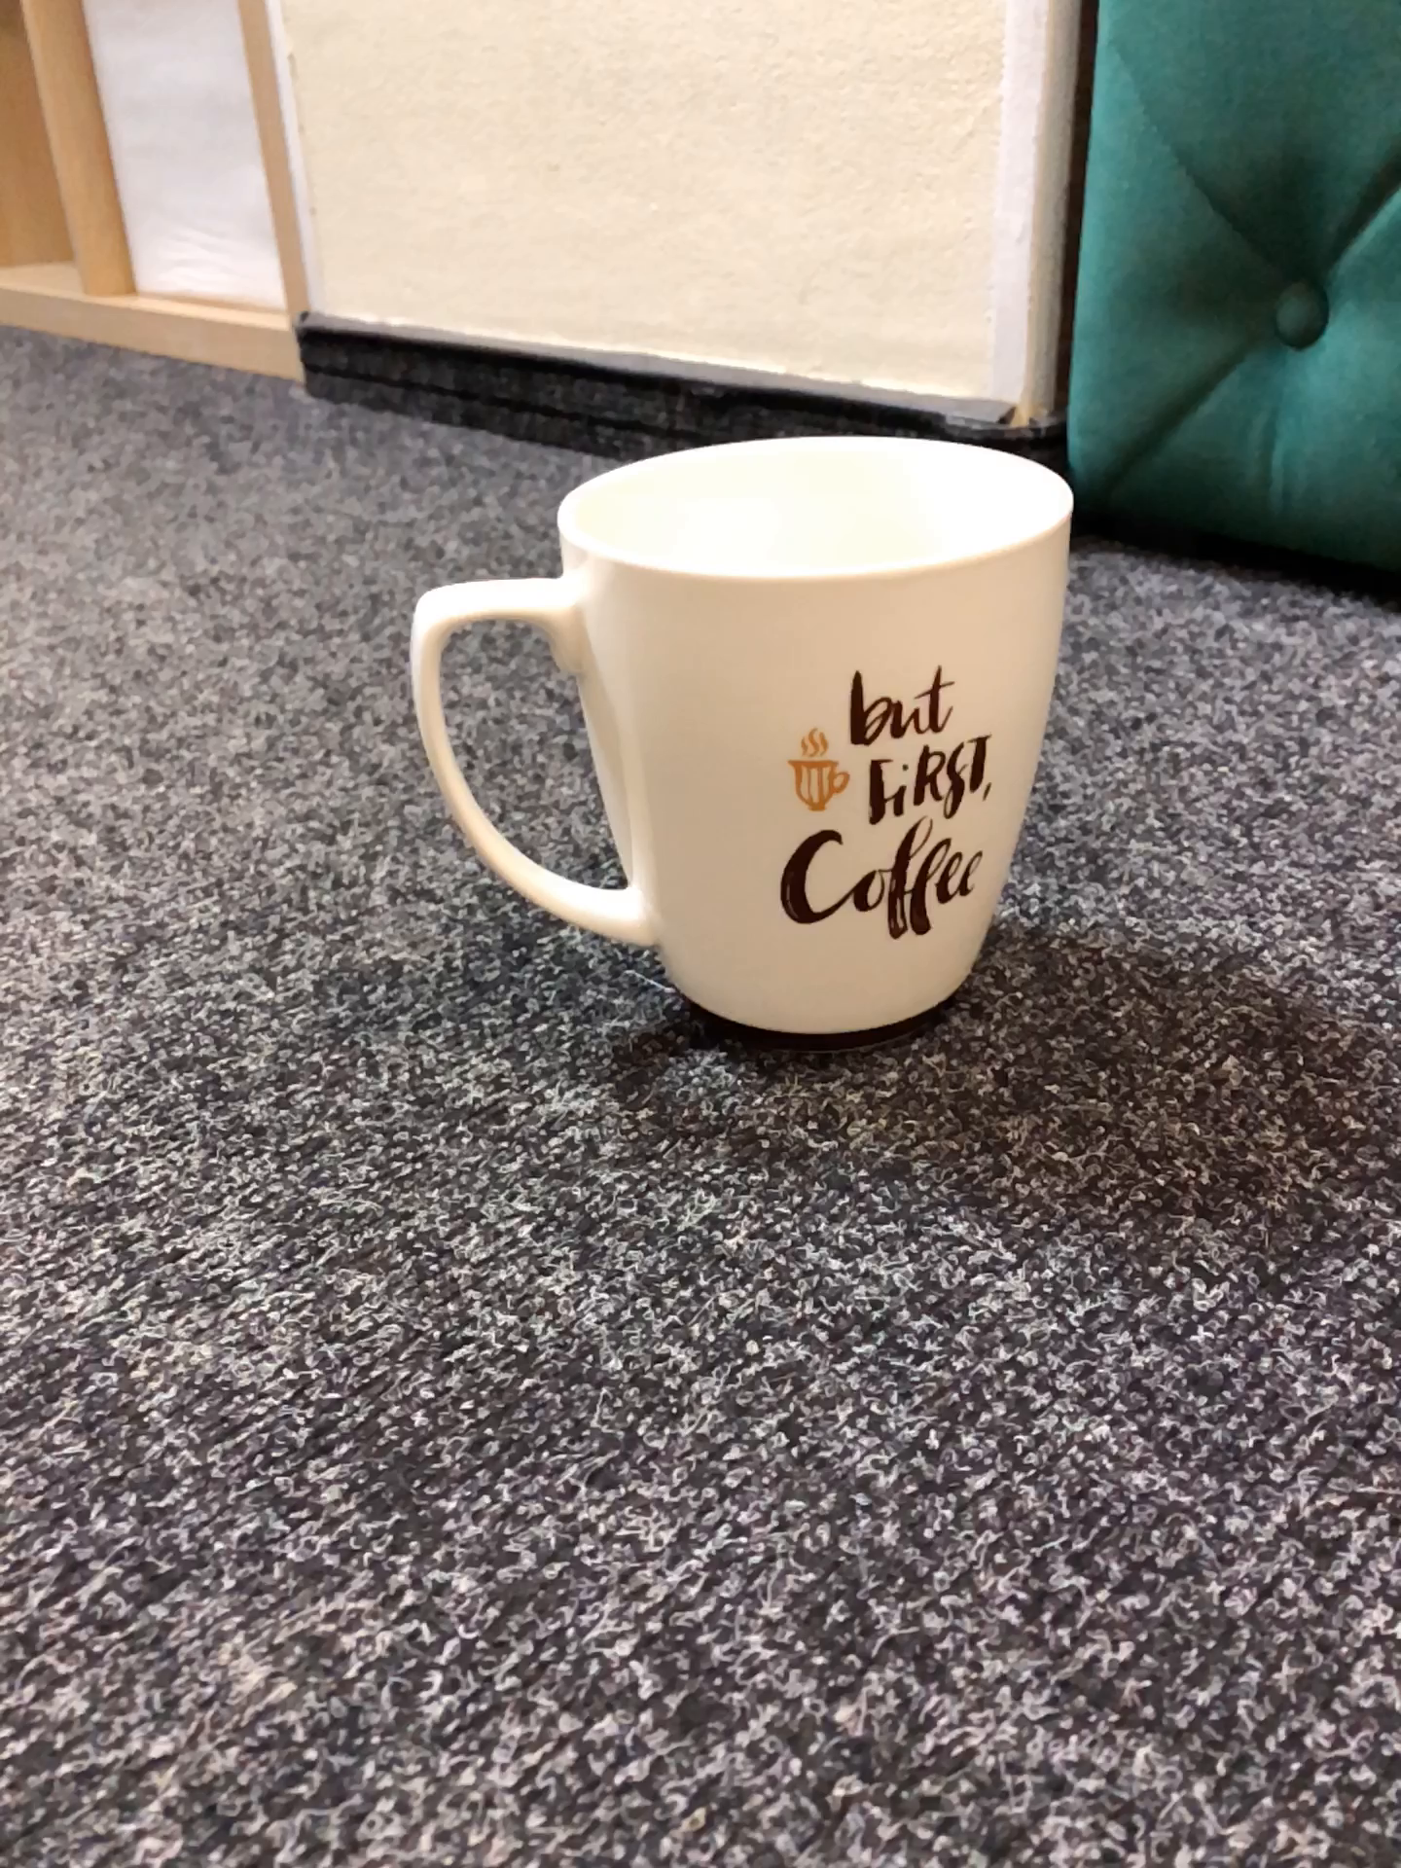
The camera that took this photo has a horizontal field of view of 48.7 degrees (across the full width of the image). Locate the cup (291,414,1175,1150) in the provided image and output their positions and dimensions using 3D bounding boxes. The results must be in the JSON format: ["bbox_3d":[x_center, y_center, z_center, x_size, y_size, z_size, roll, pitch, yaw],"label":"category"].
[{"bbox_3d":[0.003,-0.044,0.334,0.145,0.100,0.111,-14,31,-19],"label":"cup"}]
